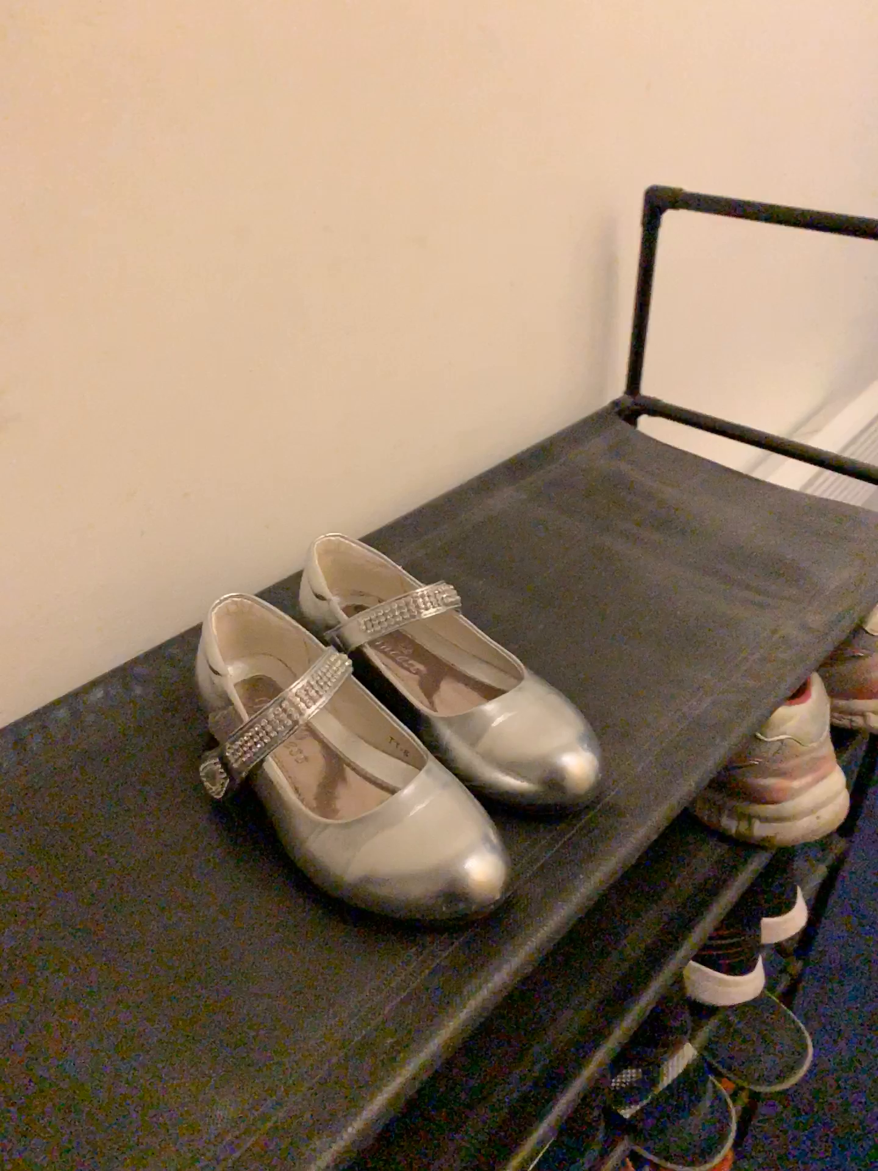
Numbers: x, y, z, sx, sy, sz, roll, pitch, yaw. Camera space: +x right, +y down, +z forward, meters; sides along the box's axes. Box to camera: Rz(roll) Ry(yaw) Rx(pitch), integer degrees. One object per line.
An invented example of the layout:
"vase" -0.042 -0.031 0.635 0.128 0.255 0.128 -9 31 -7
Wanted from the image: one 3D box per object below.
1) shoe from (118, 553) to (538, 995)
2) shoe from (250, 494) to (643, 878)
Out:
"shoe" -0.053 0.074 0.421 0.090 0.089 0.181 -33 44 -30
"shoe" 0.001 0.040 0.461 0.090 0.089 0.181 -33 44 -30
